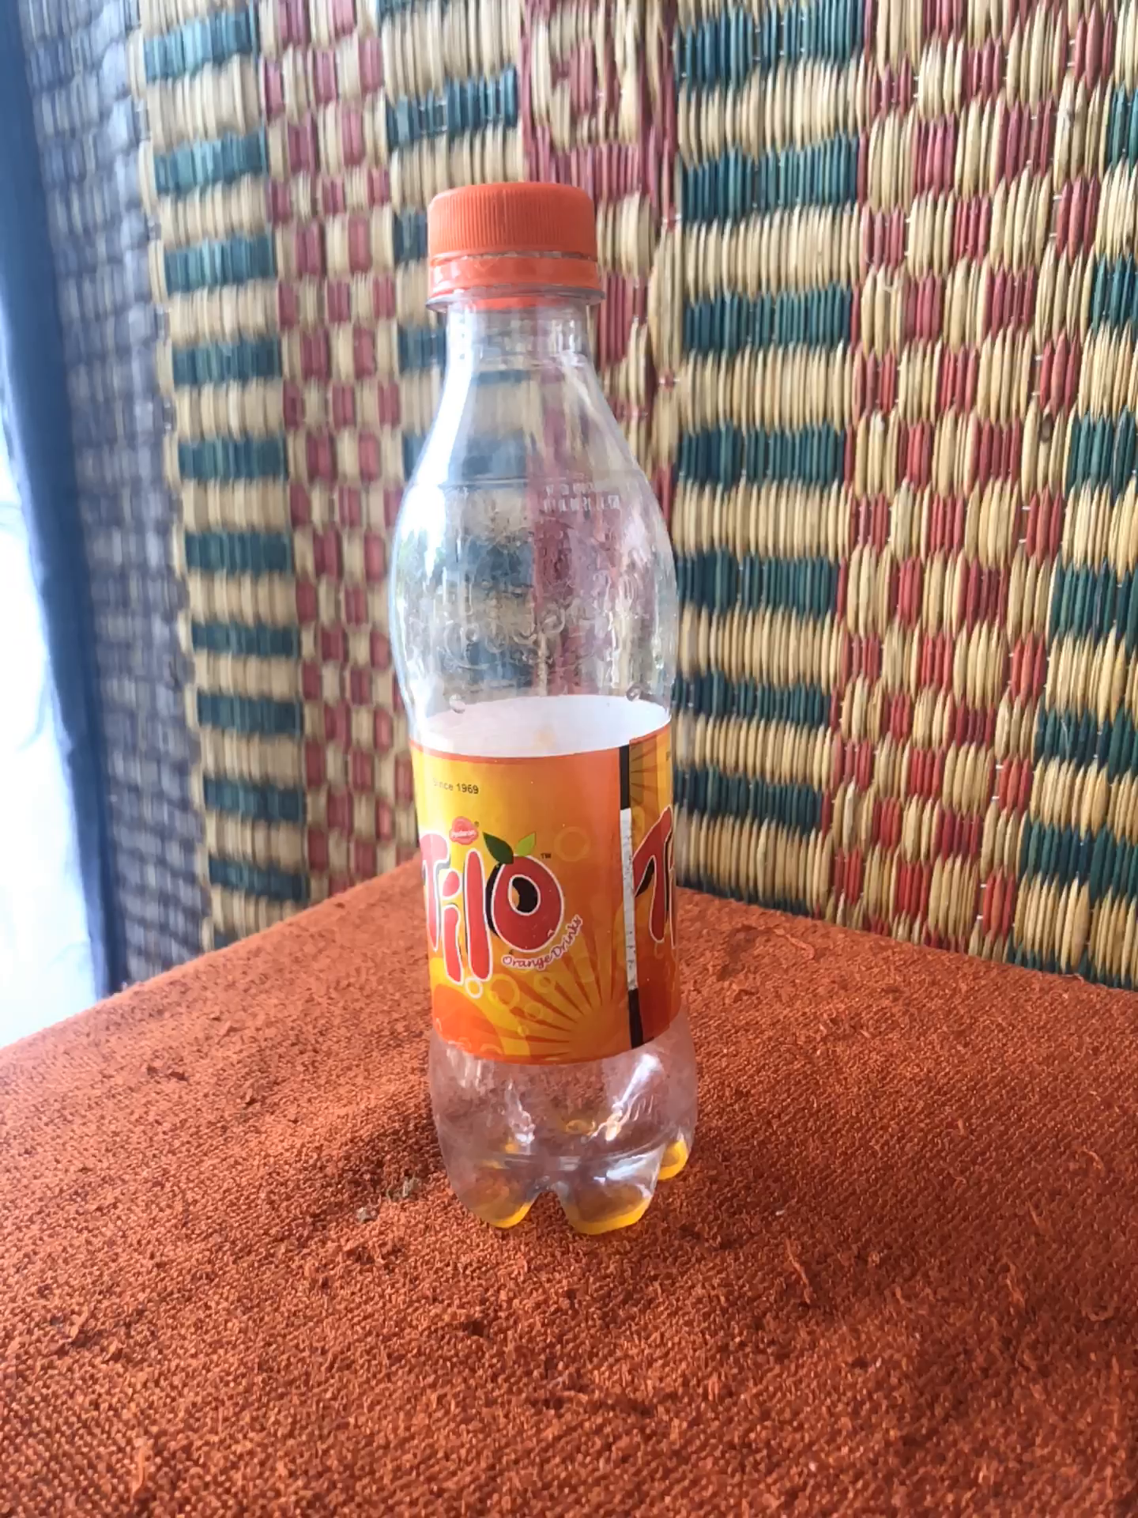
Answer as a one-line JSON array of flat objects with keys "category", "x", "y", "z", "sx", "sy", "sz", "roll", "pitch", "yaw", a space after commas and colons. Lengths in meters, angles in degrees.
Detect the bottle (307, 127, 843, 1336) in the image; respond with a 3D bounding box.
[{"category": "bottle", "x": 0.006, "y": -0.003, "z": 0.231, "sx": 0.070, "sy": 0.189, "sz": 0.050, "roll": 12, "pitch": 23, "yaw": 40}]
